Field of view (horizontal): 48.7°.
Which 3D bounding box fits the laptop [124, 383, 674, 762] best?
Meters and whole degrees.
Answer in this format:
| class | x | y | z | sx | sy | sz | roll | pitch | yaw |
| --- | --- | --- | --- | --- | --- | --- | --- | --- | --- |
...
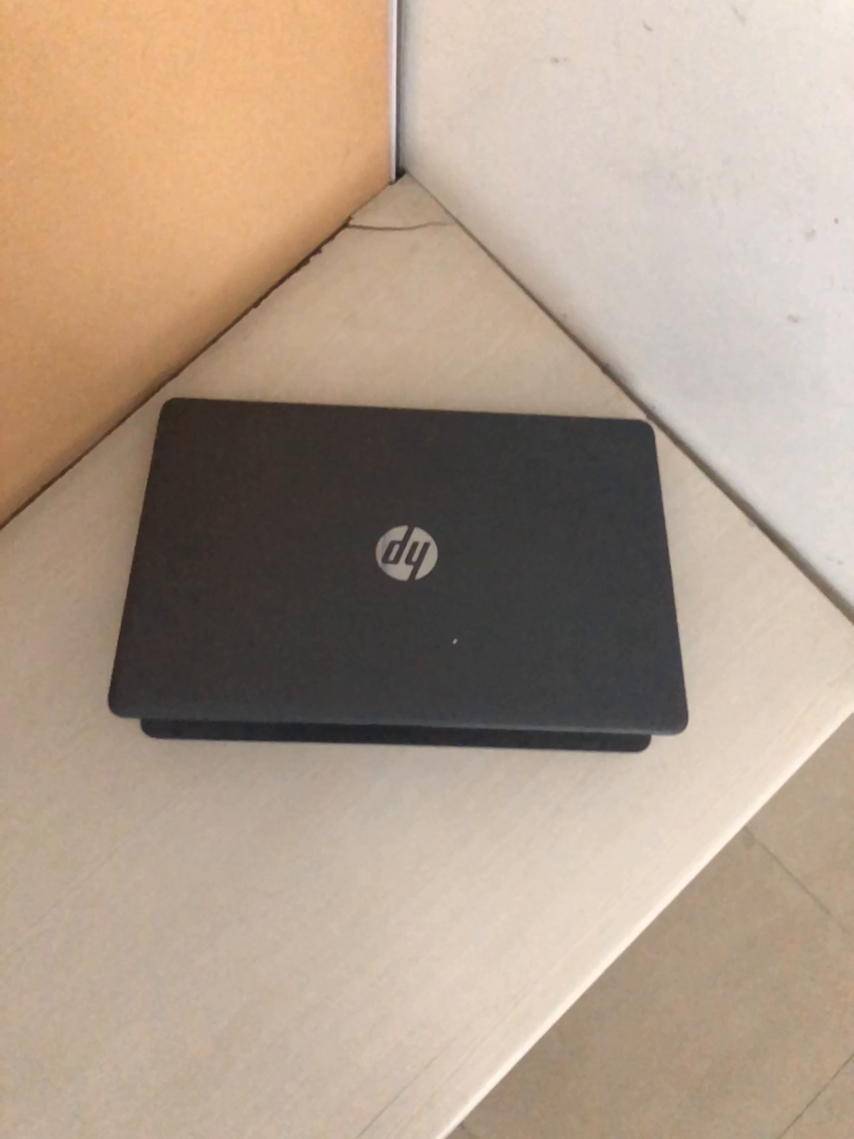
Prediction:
| class | x | y | z | sx | sy | sz | roll | pitch | yaw |
| --- | --- | --- | --- | --- | --- | --- | --- | --- | --- |
| laptop | -0.016 | 0.007 | 0.667 | 0.361 | 0.074 | 0.237 | 2 | 85 | -2 |
